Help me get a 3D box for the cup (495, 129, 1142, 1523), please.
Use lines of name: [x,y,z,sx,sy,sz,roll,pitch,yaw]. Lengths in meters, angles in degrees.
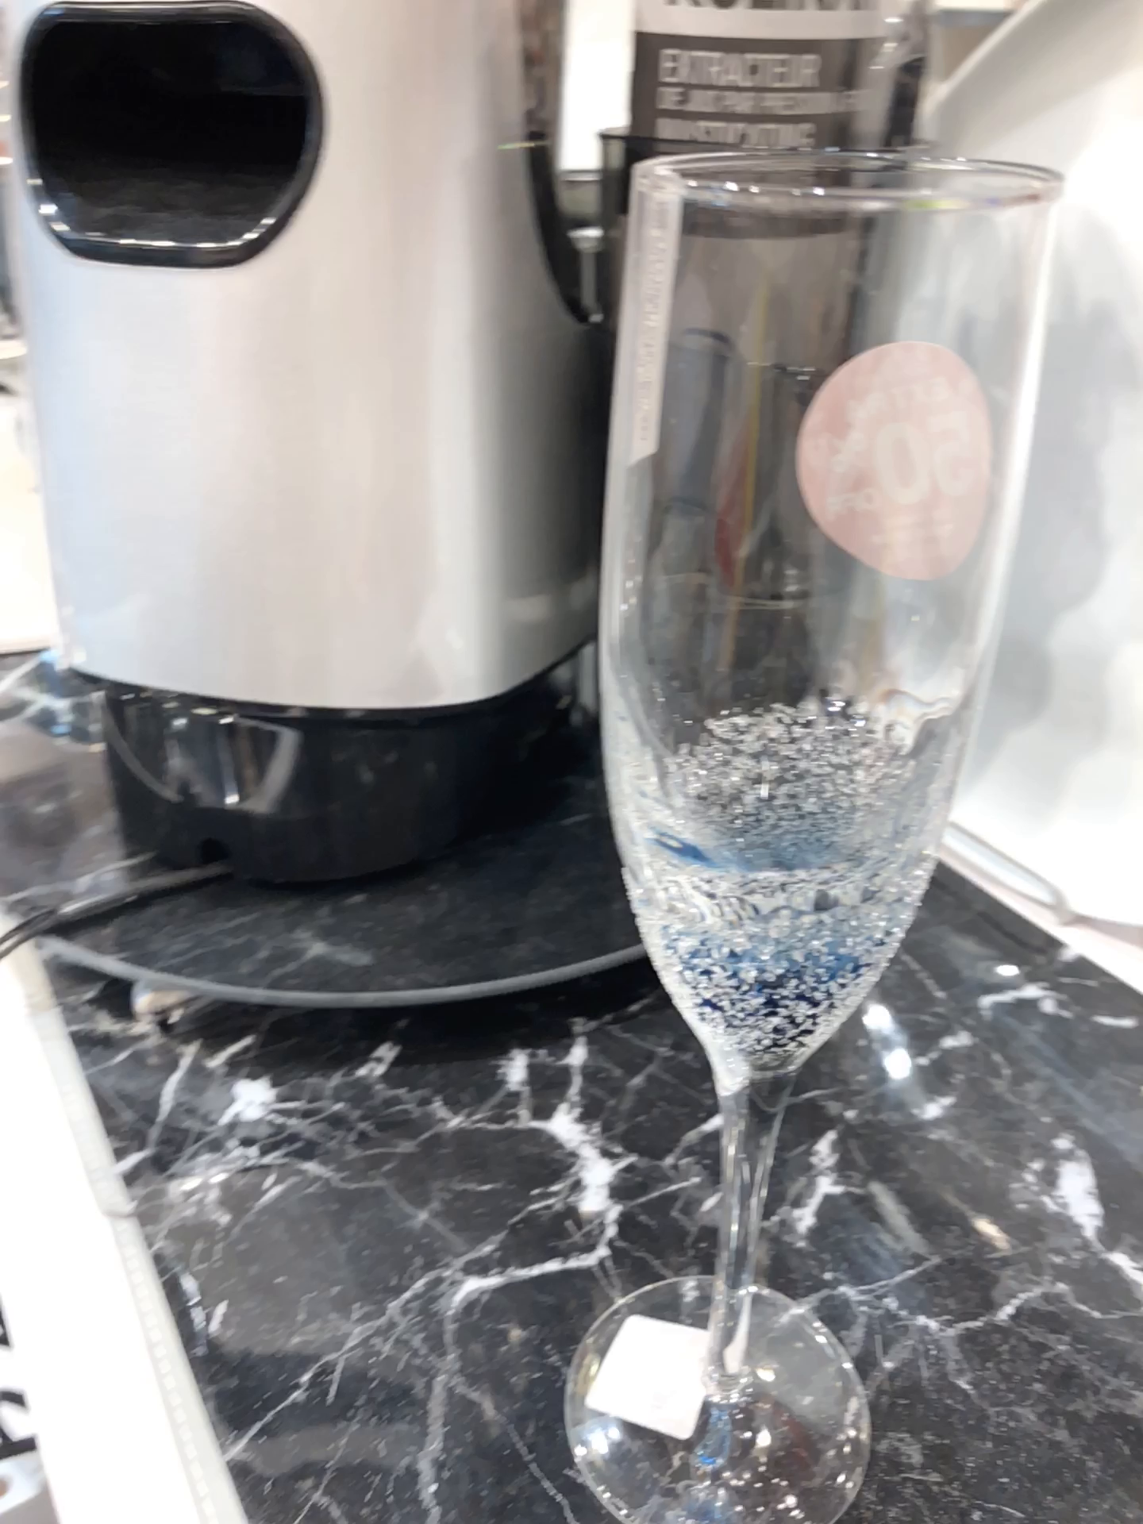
cup: [0.032,0.033,0.219,0.070,0.249,0.070,1,29,0]
